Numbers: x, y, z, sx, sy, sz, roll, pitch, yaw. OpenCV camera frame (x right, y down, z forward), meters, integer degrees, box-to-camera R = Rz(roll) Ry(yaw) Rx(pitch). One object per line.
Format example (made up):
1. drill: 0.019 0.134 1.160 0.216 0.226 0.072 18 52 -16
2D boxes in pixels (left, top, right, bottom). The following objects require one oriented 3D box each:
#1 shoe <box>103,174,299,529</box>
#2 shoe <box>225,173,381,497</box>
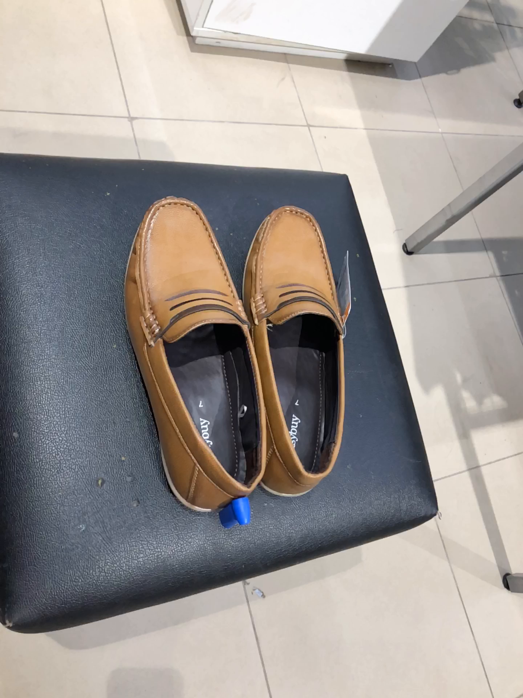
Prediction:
1. shoe: -0.060 0.000 0.486 0.099 0.088 0.273 -4 73 -26
2. shoe: 0.029 -0.009 0.527 0.099 0.088 0.273 7 69 -23
